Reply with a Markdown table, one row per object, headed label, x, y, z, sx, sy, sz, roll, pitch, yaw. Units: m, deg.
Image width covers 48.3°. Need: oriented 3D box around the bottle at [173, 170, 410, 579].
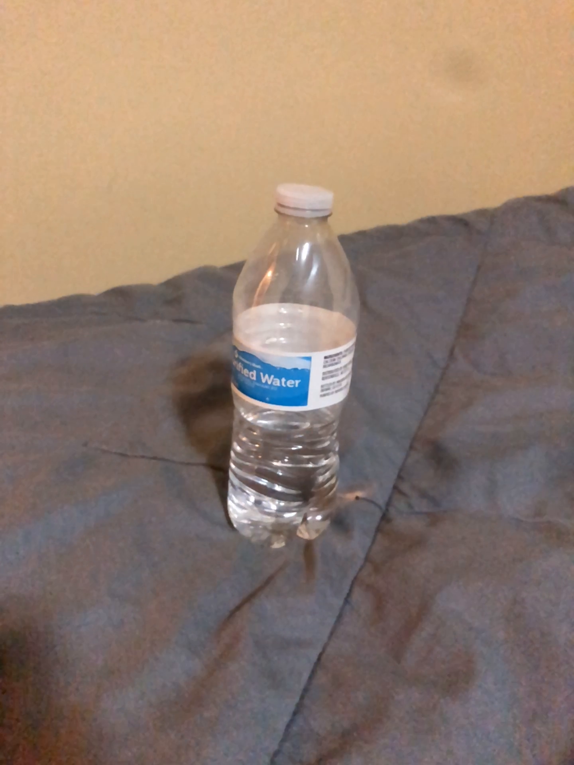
| label | x | y | z | sx | sy | sz | roll | pitch | yaw |
| --- | --- | --- | --- | --- | --- | --- | --- | --- | --- |
| bottle | 0.000 | -0.007 | 0.345 | 0.080 | 0.189 | 0.080 | 2 | 26 | -1 |
